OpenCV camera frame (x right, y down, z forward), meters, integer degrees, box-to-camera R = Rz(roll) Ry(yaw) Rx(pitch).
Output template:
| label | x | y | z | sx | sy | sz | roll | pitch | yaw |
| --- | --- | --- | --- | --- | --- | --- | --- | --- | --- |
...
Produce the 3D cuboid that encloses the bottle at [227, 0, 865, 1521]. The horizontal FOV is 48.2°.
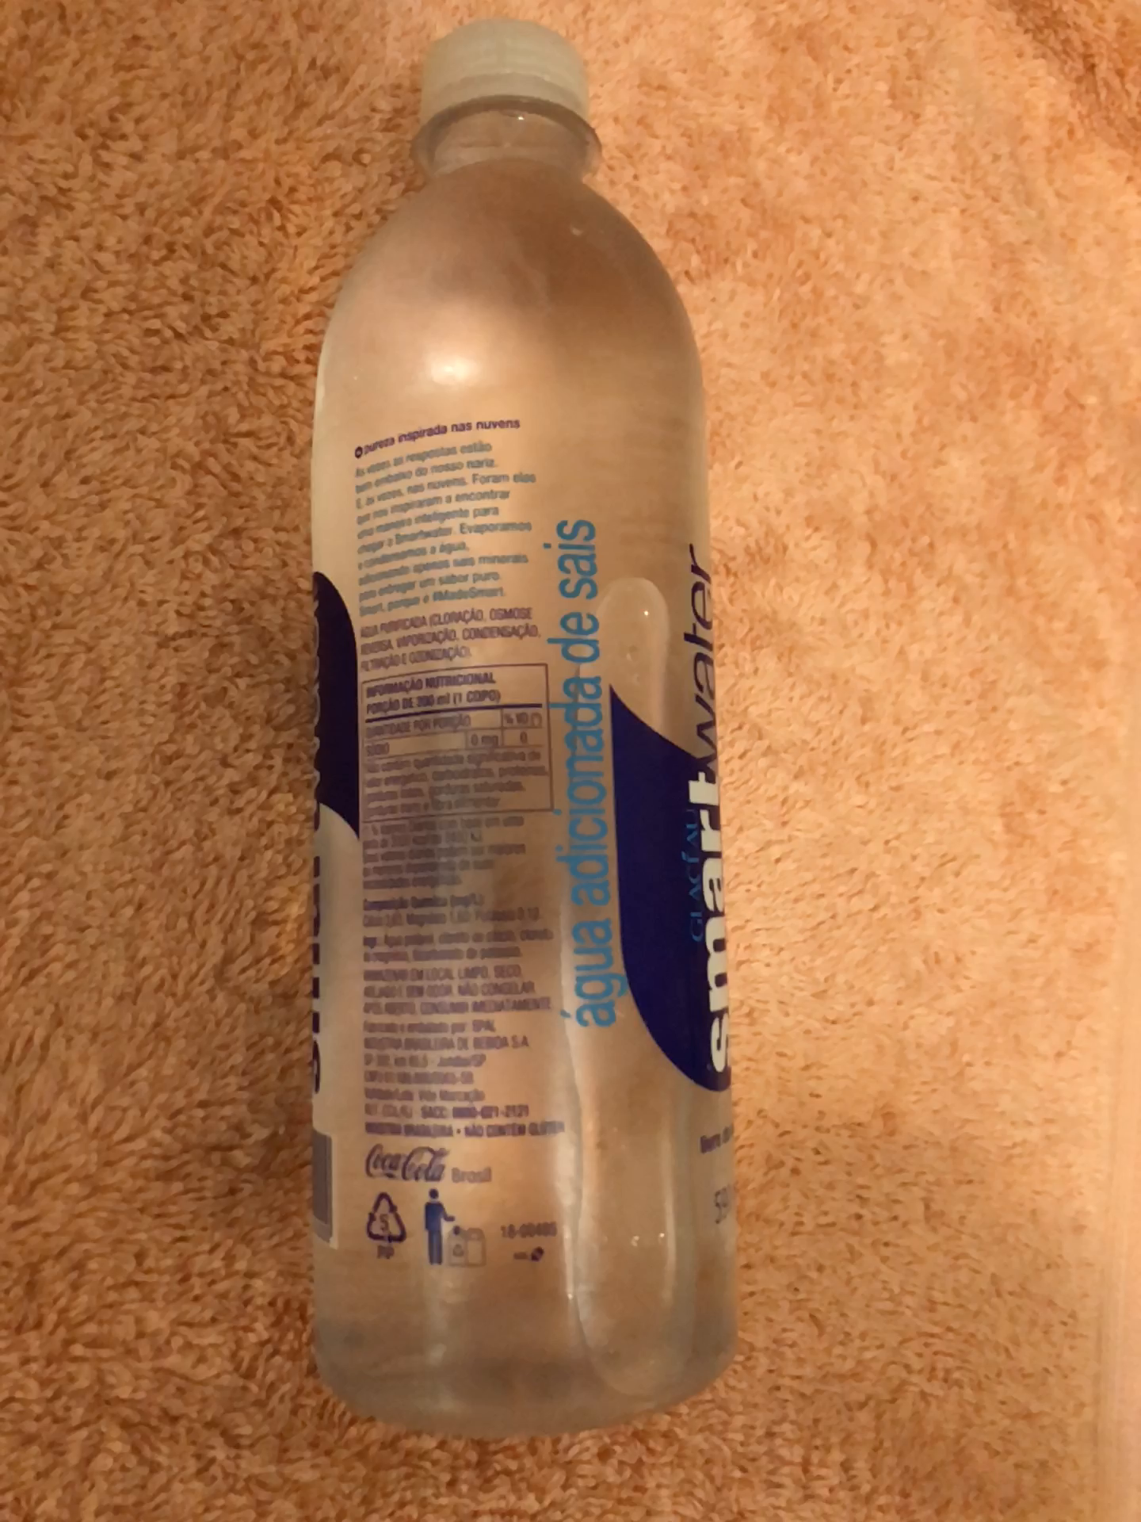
| label | x | y | z | sx | sy | sz | roll | pitch | yaw |
| --- | --- | --- | --- | --- | --- | --- | --- | --- | --- |
| bottle | -0.003 | -0.010 | 0.194 | 0.080 | 0.050 | 0.230 | 2 | 86 | -41 |
